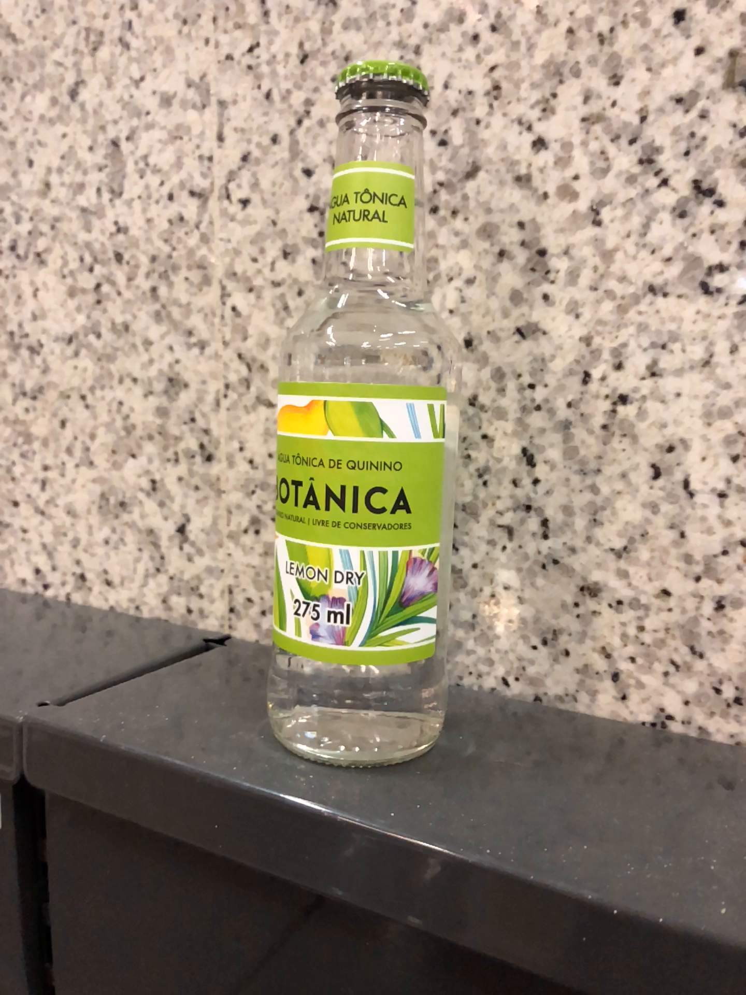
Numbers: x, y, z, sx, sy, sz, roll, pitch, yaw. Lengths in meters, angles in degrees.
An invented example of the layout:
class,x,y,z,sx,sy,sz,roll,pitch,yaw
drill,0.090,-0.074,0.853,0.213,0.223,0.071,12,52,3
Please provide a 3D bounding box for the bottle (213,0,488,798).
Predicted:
class,x,y,z,sx,sy,sz,roll,pitch,yaw
bottle,-0.005,-0.026,0.257,0.060,0.209,0.060,0,9,0
